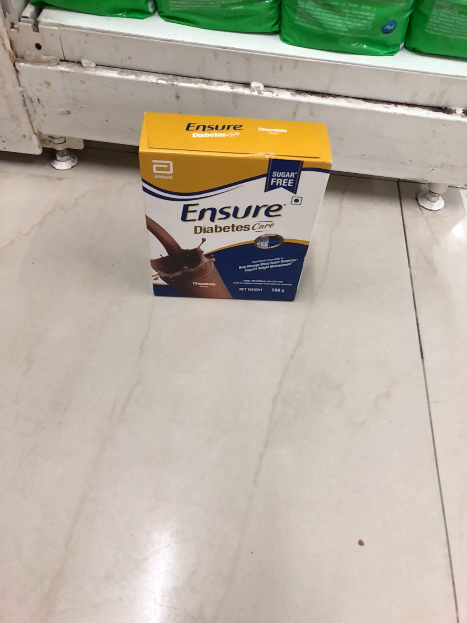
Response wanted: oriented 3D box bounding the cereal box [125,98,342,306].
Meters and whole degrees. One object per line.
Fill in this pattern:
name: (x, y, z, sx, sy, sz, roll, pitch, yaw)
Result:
cereal box: (-0.005, -0.076, 0.416, 0.140, 0.169, 0.050, 3, 56, -3)
